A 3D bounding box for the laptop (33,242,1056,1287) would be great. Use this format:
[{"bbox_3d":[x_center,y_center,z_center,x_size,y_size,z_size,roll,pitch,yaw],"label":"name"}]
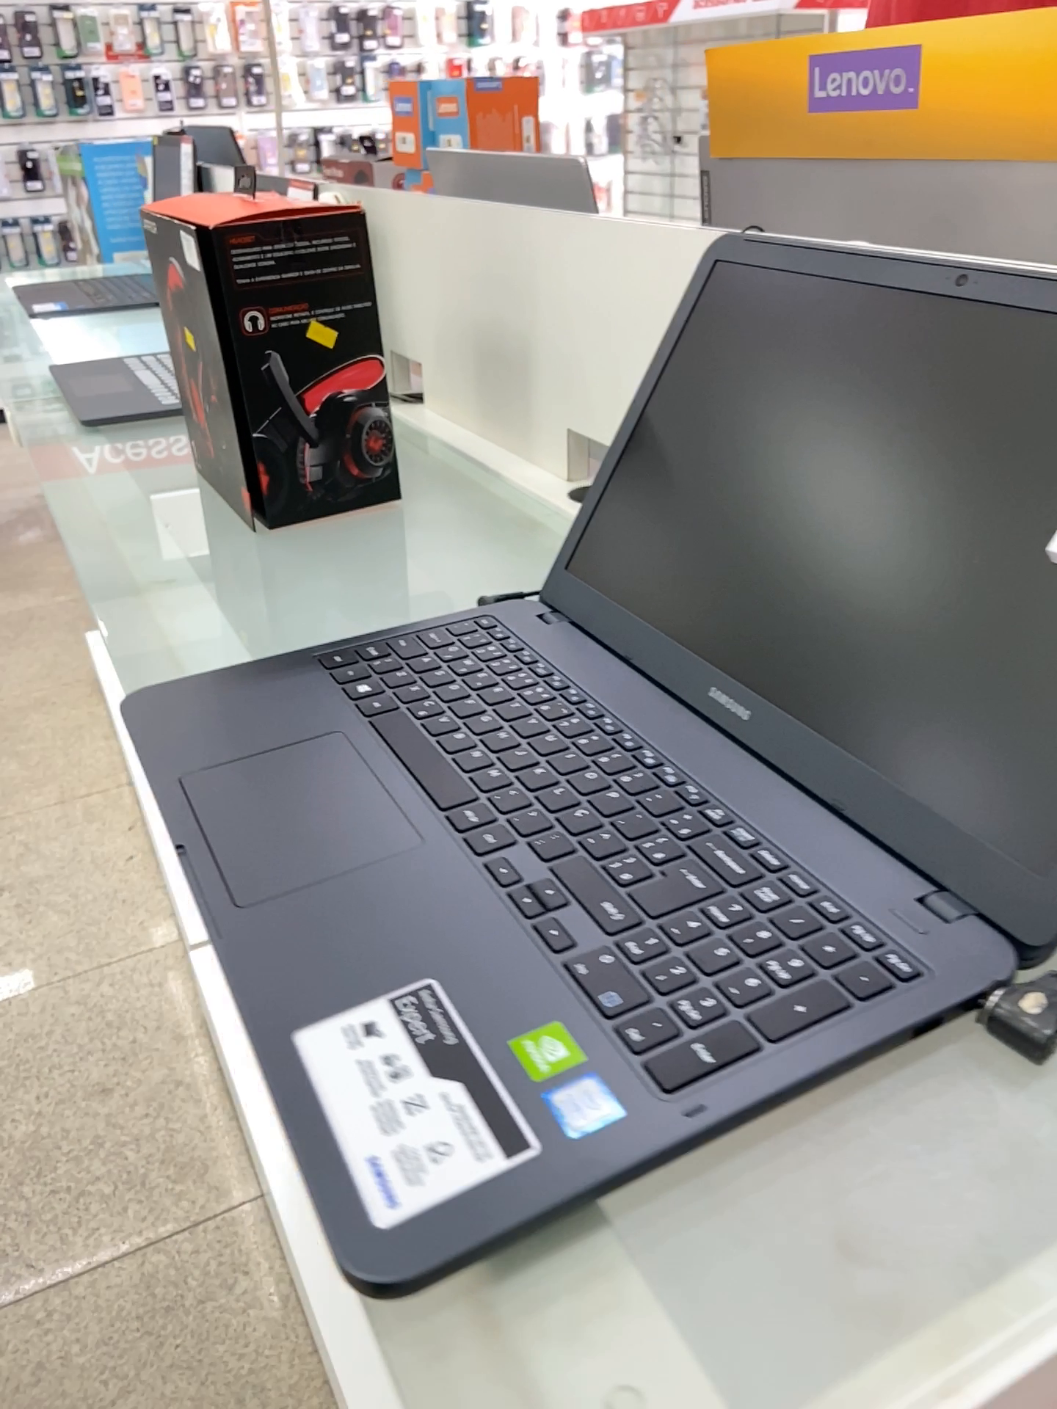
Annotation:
[{"bbox_3d":[0.033,-0.059,0.449,0.369,0.192,0.372,-16,31,-22],"label":"laptop"}]
